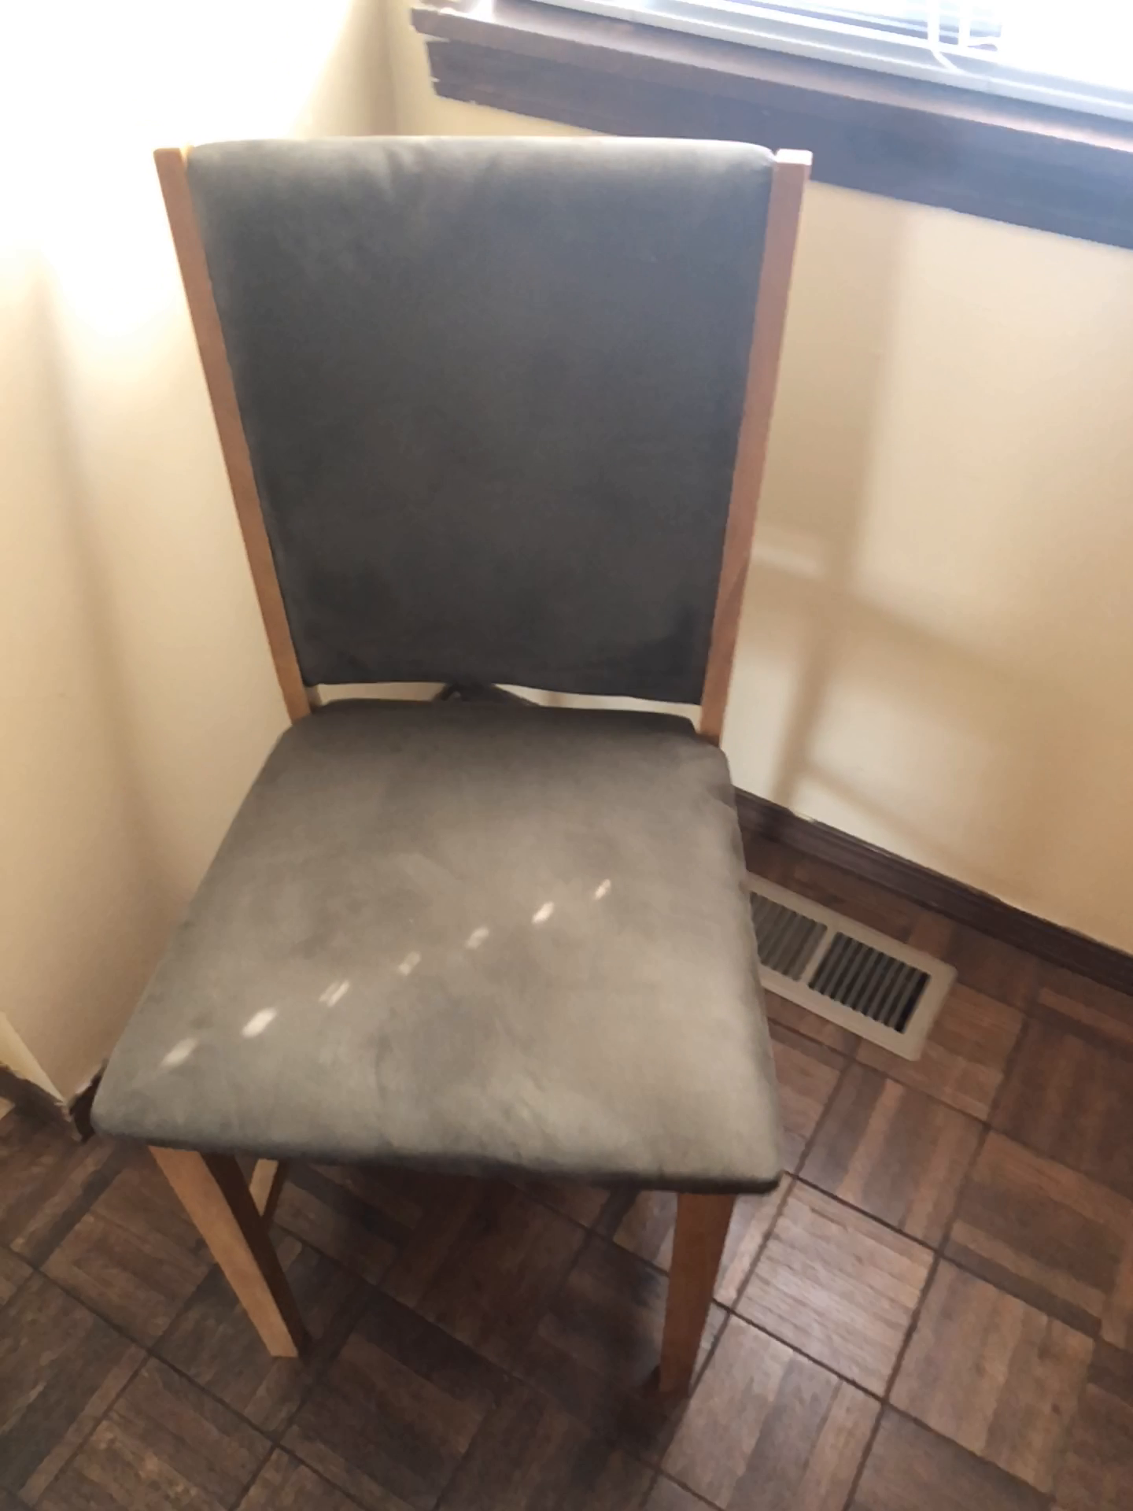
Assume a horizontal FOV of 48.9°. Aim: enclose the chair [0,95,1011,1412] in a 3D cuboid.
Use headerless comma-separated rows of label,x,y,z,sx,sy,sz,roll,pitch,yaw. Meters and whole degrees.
chair,-0.061,0.052,0.944,0.490,0.859,0.511,3,44,4
